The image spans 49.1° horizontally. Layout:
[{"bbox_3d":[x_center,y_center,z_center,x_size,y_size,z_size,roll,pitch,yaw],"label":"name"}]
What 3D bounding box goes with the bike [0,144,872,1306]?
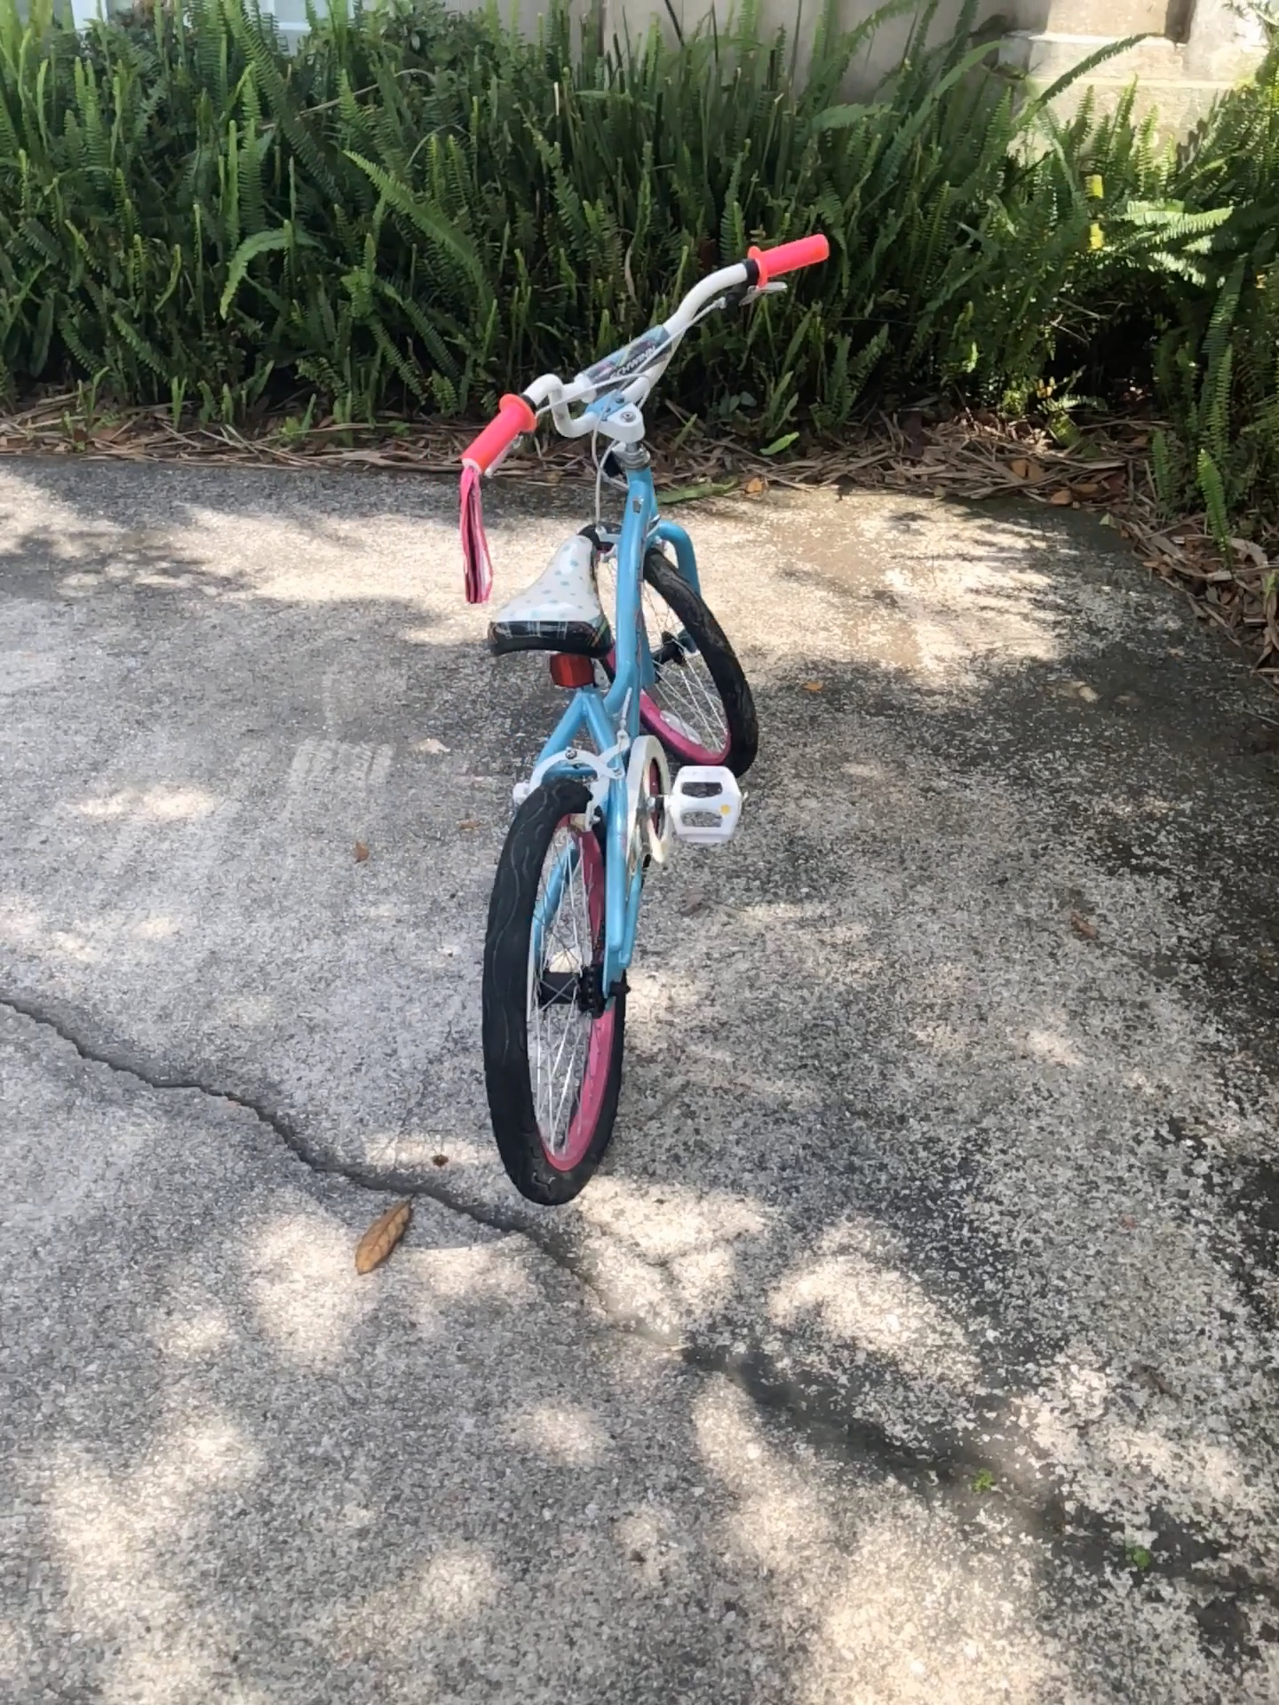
[{"bbox_3d":[-0.173,-0.306,1.869,0.699,0.923,1.317,3,34,1],"label":"bike"}]
